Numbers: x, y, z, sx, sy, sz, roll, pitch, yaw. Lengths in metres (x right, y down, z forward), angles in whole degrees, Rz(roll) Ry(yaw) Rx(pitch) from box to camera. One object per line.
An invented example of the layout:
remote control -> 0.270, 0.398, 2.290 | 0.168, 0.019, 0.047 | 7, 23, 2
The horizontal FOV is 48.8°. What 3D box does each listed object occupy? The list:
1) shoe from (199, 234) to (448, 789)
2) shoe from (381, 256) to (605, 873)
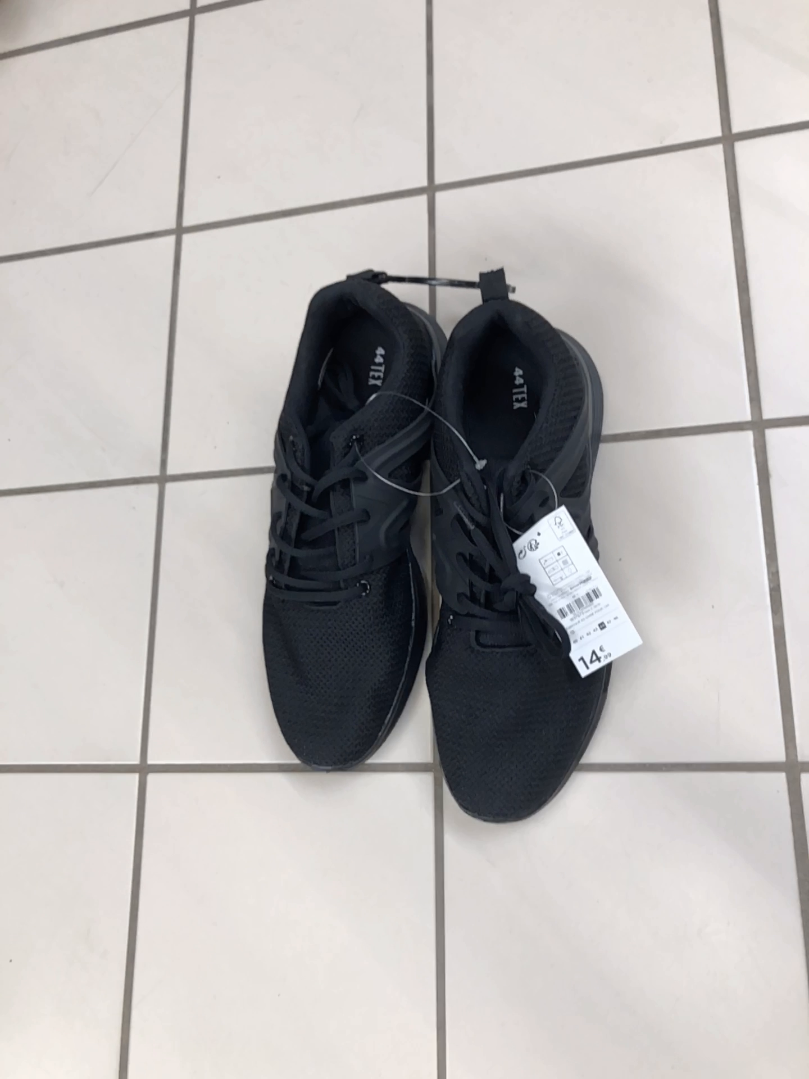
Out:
shoe -> -0.039, -0.013, 0.545 | 0.100, 0.110, 0.310 | -1, 76, 15
shoe -> 0.058, 0.013, 0.503 | 0.100, 0.110, 0.310 | -1, 76, 15
